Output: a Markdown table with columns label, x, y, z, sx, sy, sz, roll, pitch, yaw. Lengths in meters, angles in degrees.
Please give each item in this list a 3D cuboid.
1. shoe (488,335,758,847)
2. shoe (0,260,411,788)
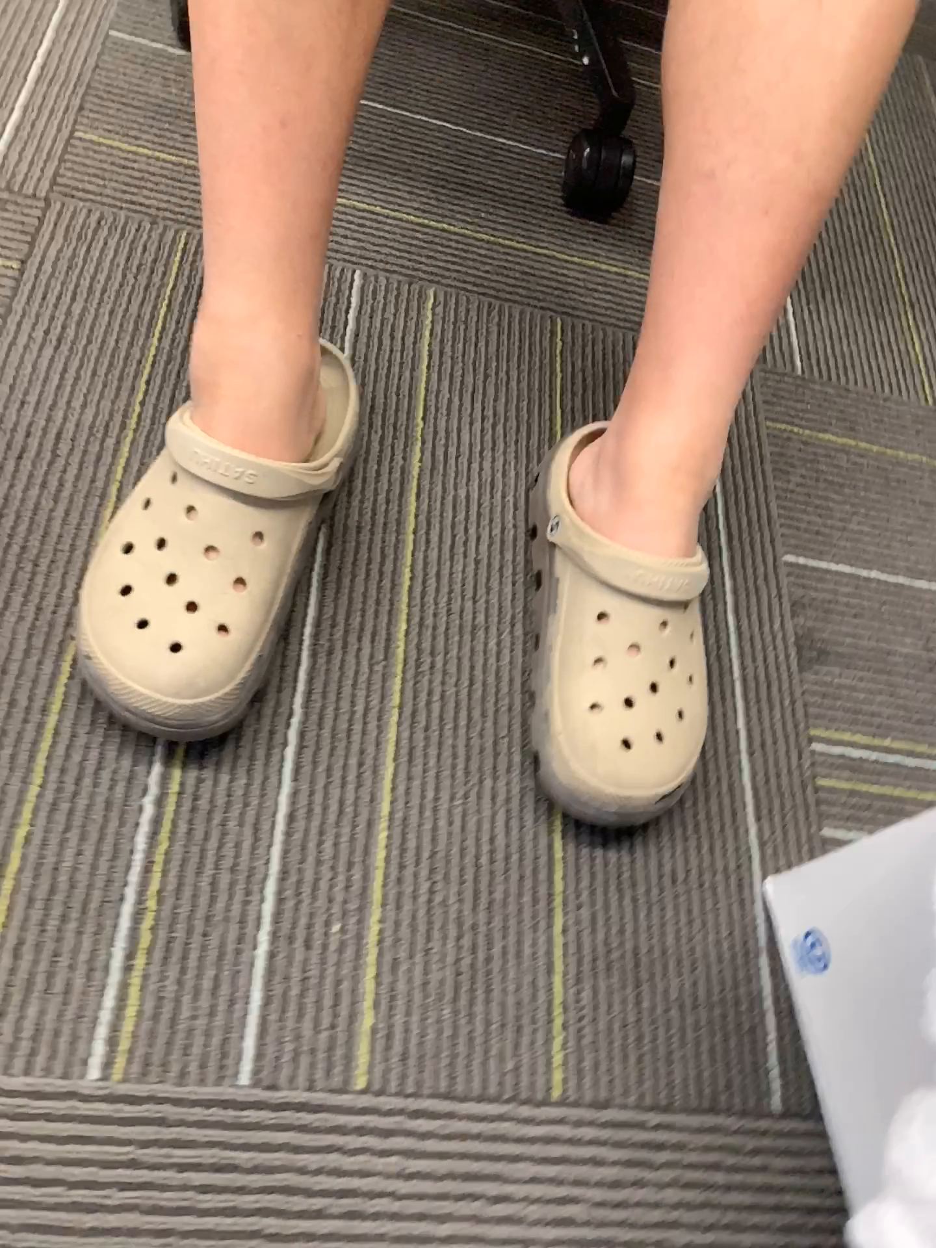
| label | x | y | z | sx | sy | sz | roll | pitch | yaw |
| --- | --- | --- | --- | --- | --- | --- | --- | --- | --- |
| shoe | 0.109 | -0.032 | 0.653 | 0.140 | 0.080 | 0.331 | 13 | 60 | -10 |
| shoe | -0.153 | -0.075 | 0.611 | 0.134 | 0.080 | 0.321 | 20 | 59 | -5 |
